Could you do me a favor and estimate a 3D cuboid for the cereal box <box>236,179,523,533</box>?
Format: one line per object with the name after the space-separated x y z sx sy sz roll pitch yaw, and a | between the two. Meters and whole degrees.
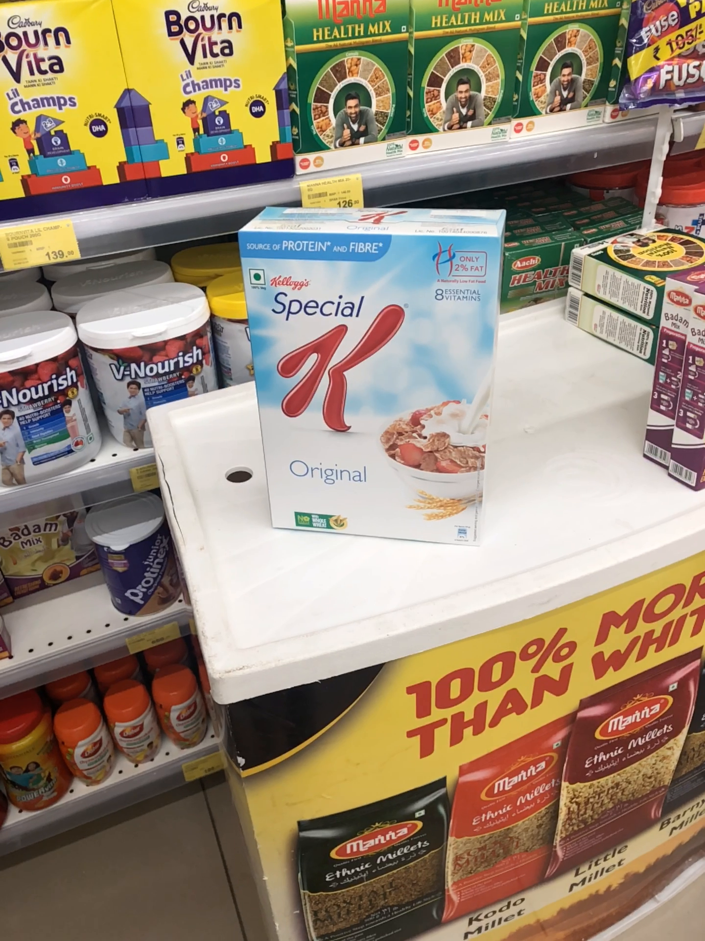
0.026 -0.084 0.609 0.190 0.259 0.070 4 34 10 | cereal box
